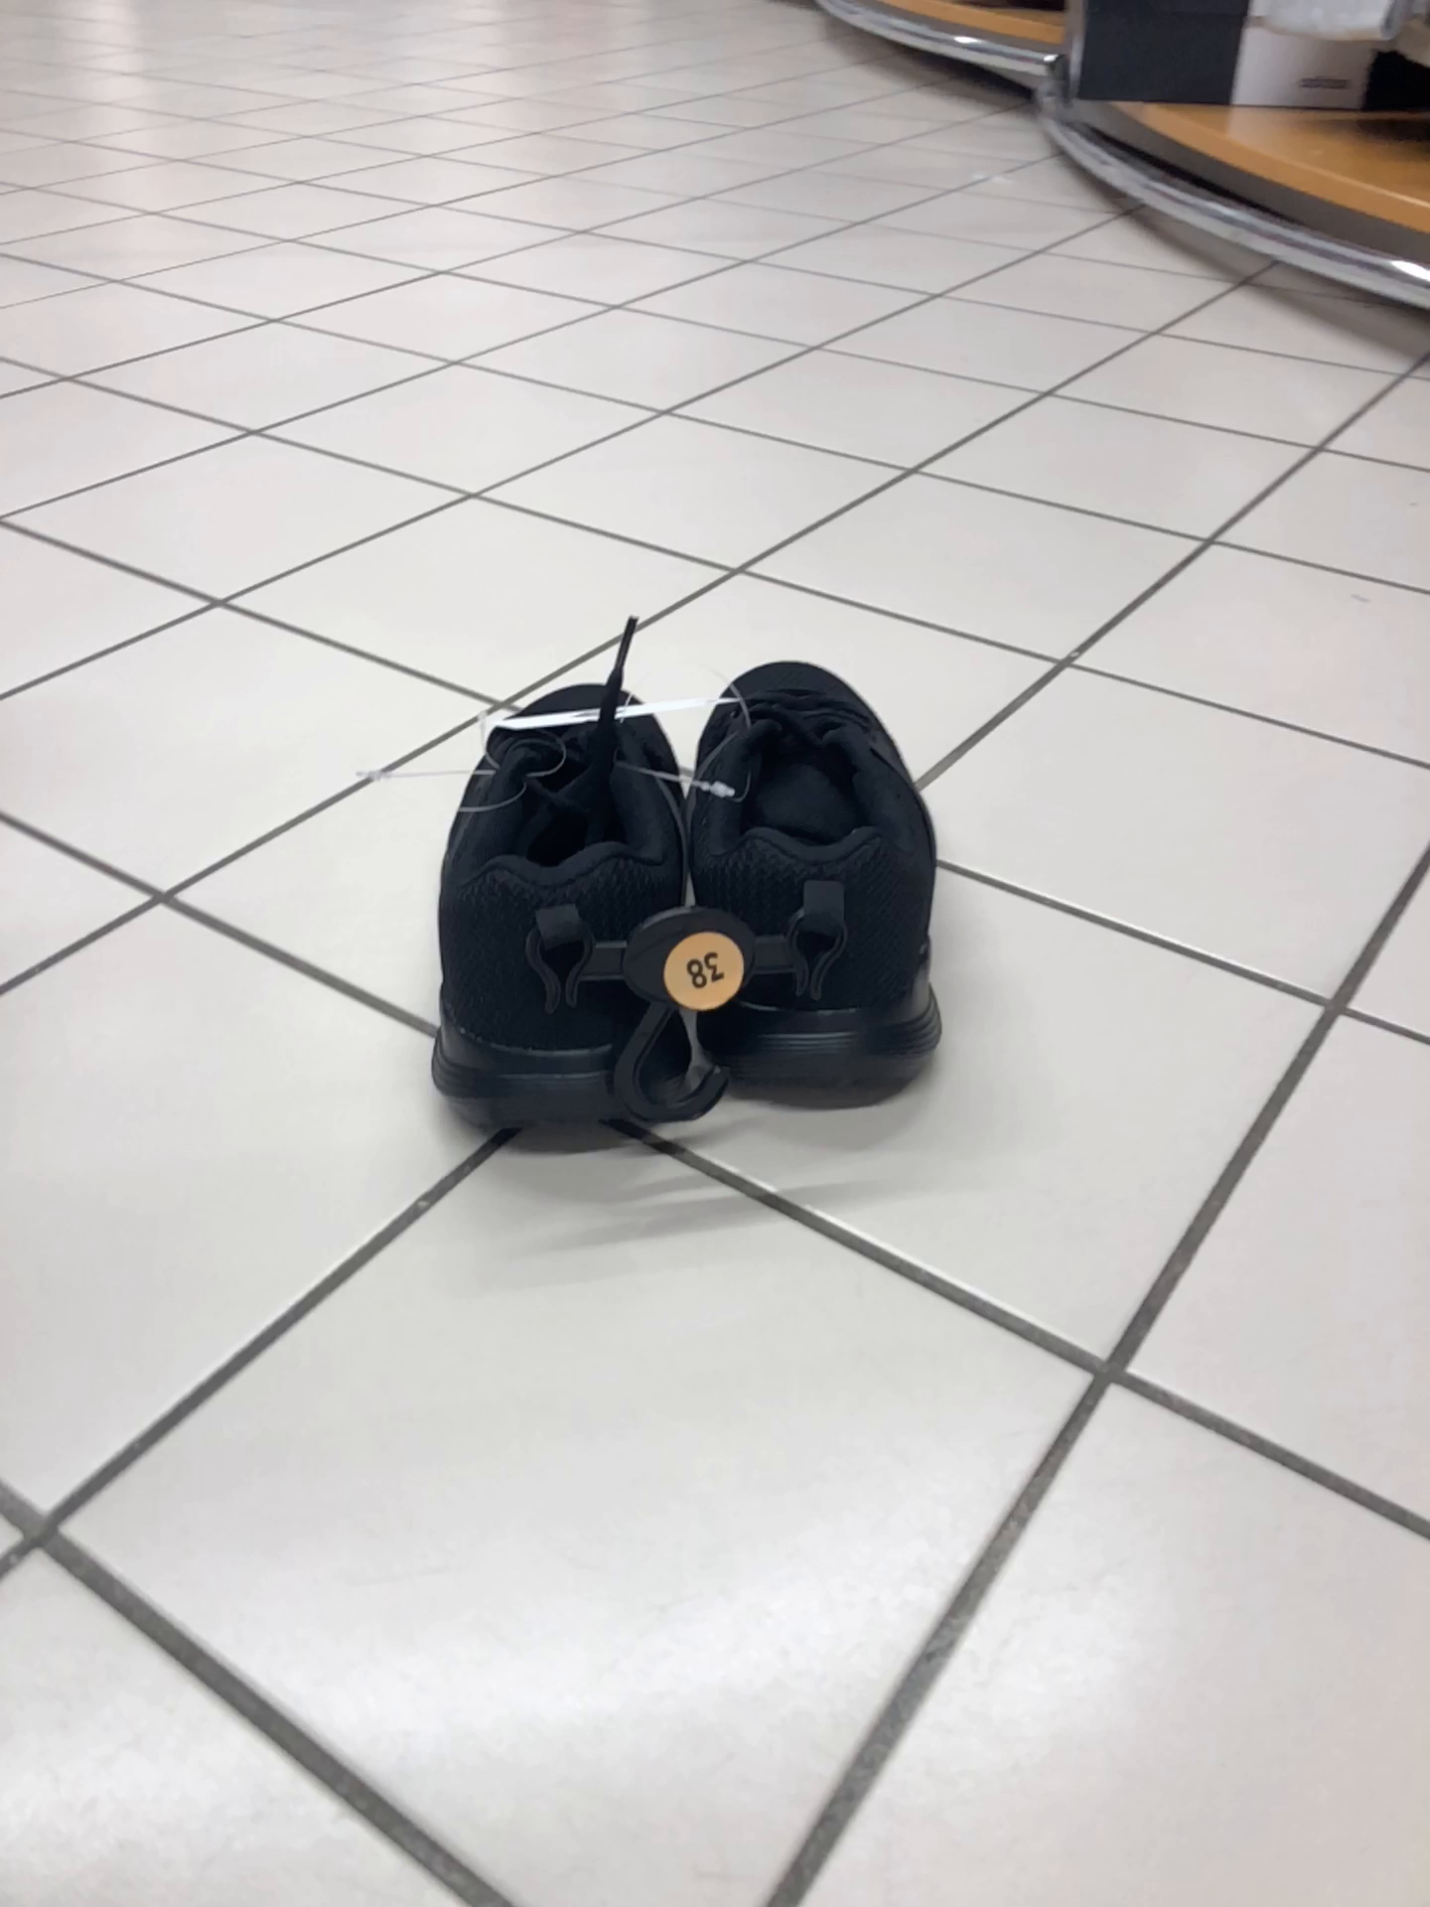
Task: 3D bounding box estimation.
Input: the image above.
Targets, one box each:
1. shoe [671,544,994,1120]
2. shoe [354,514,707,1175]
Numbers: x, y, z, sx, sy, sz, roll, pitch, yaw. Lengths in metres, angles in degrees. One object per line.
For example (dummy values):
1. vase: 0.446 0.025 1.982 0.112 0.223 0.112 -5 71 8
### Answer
1. shoe: 0.039 -0.061 0.619 0.100 0.109 0.252 1 36 1
2. shoe: -0.060 -0.057 0.591 0.100 0.119 0.272 -2 36 -3
